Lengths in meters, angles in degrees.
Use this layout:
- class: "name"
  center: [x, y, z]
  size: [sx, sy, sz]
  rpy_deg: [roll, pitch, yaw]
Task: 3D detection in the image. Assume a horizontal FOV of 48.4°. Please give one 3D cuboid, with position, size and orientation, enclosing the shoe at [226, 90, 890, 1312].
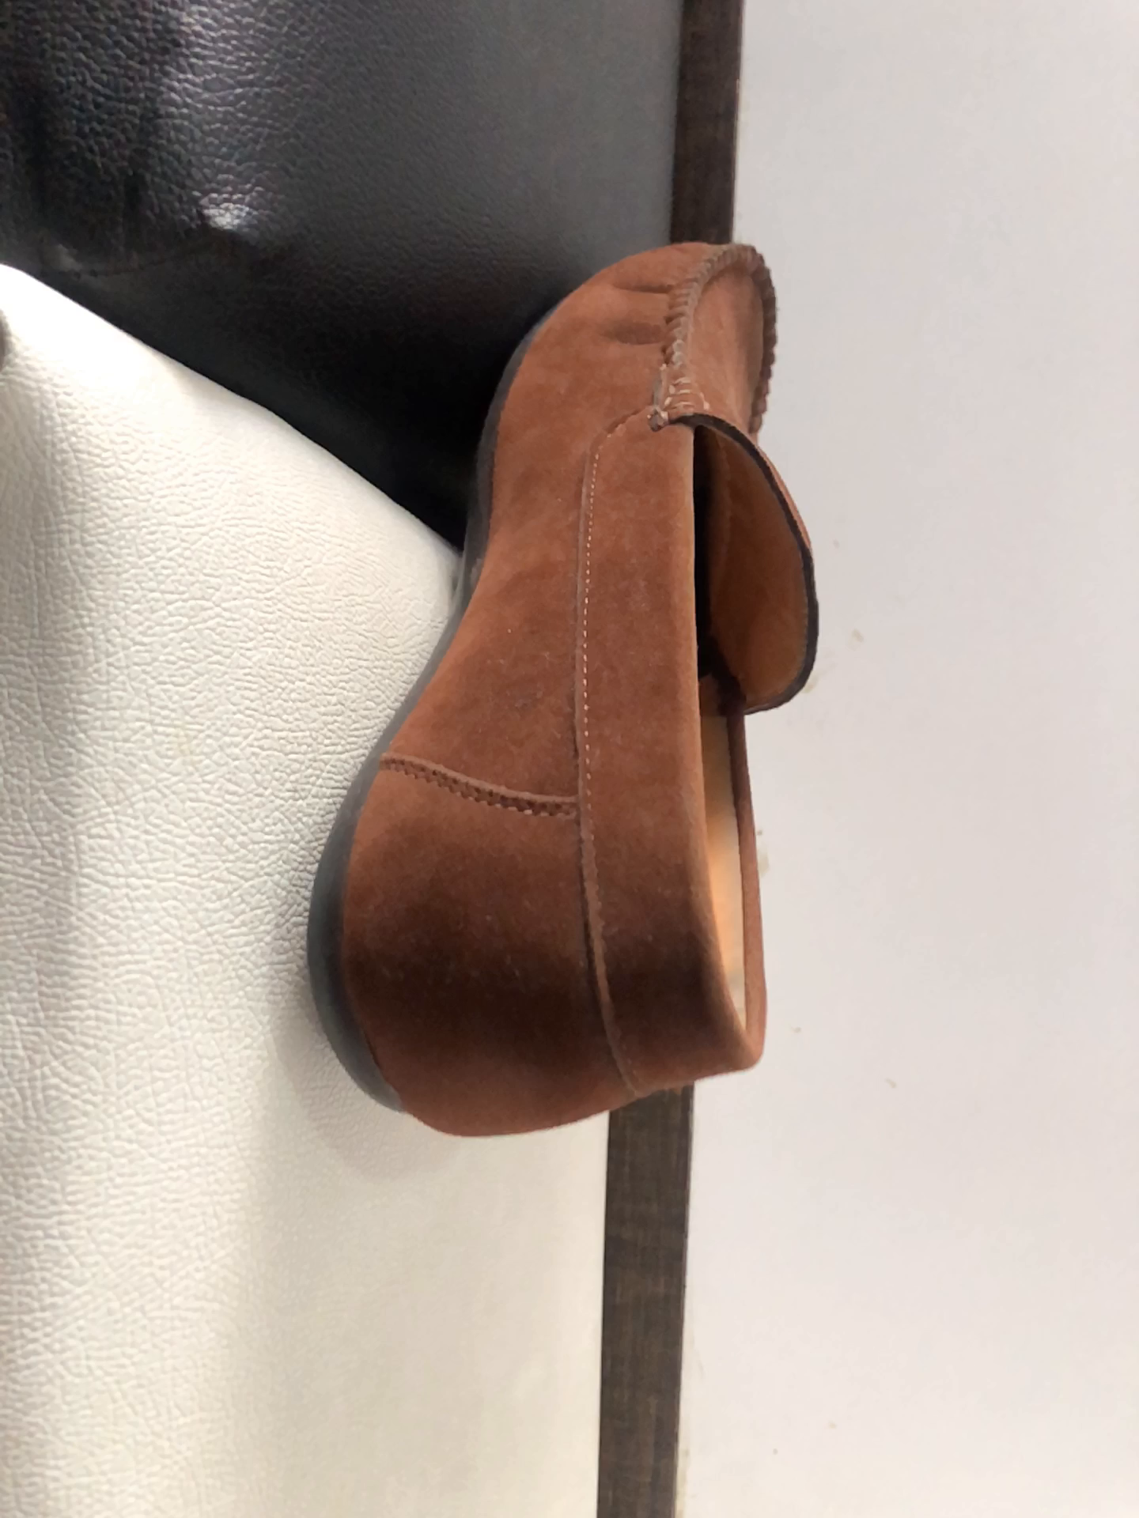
- class: "shoe"
  center: [0.032, -0.036, 0.327]
  size: [0.140, 0.080, 0.291]
  rpy_deg: [74, 25, -45]
